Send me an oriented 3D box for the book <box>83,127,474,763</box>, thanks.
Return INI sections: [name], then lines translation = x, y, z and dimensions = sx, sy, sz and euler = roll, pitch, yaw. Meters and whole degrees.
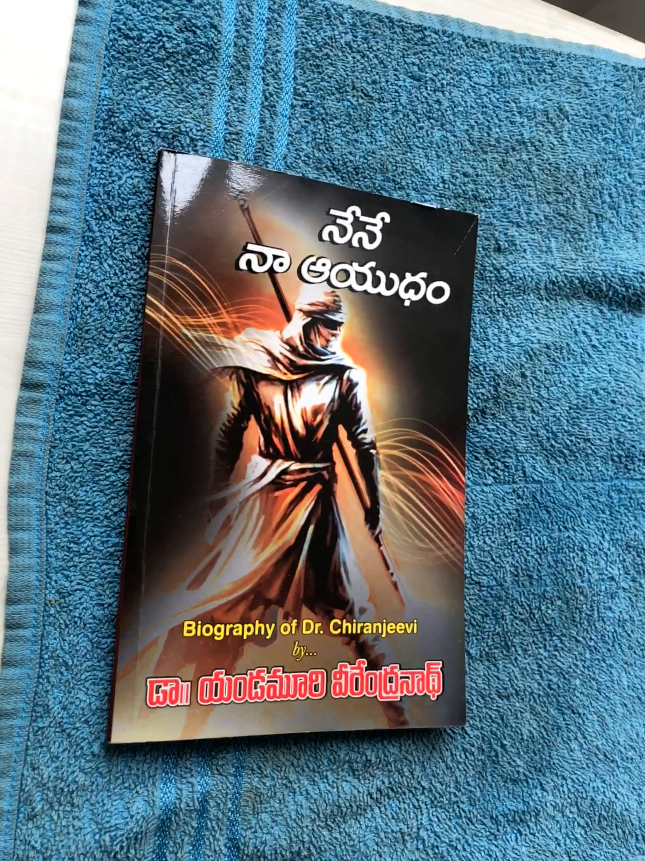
[book]
translation = -0.010, 0.007, 0.286
dimensions = 0.140, 0.030, 0.220
euler = 6, 81, -21
